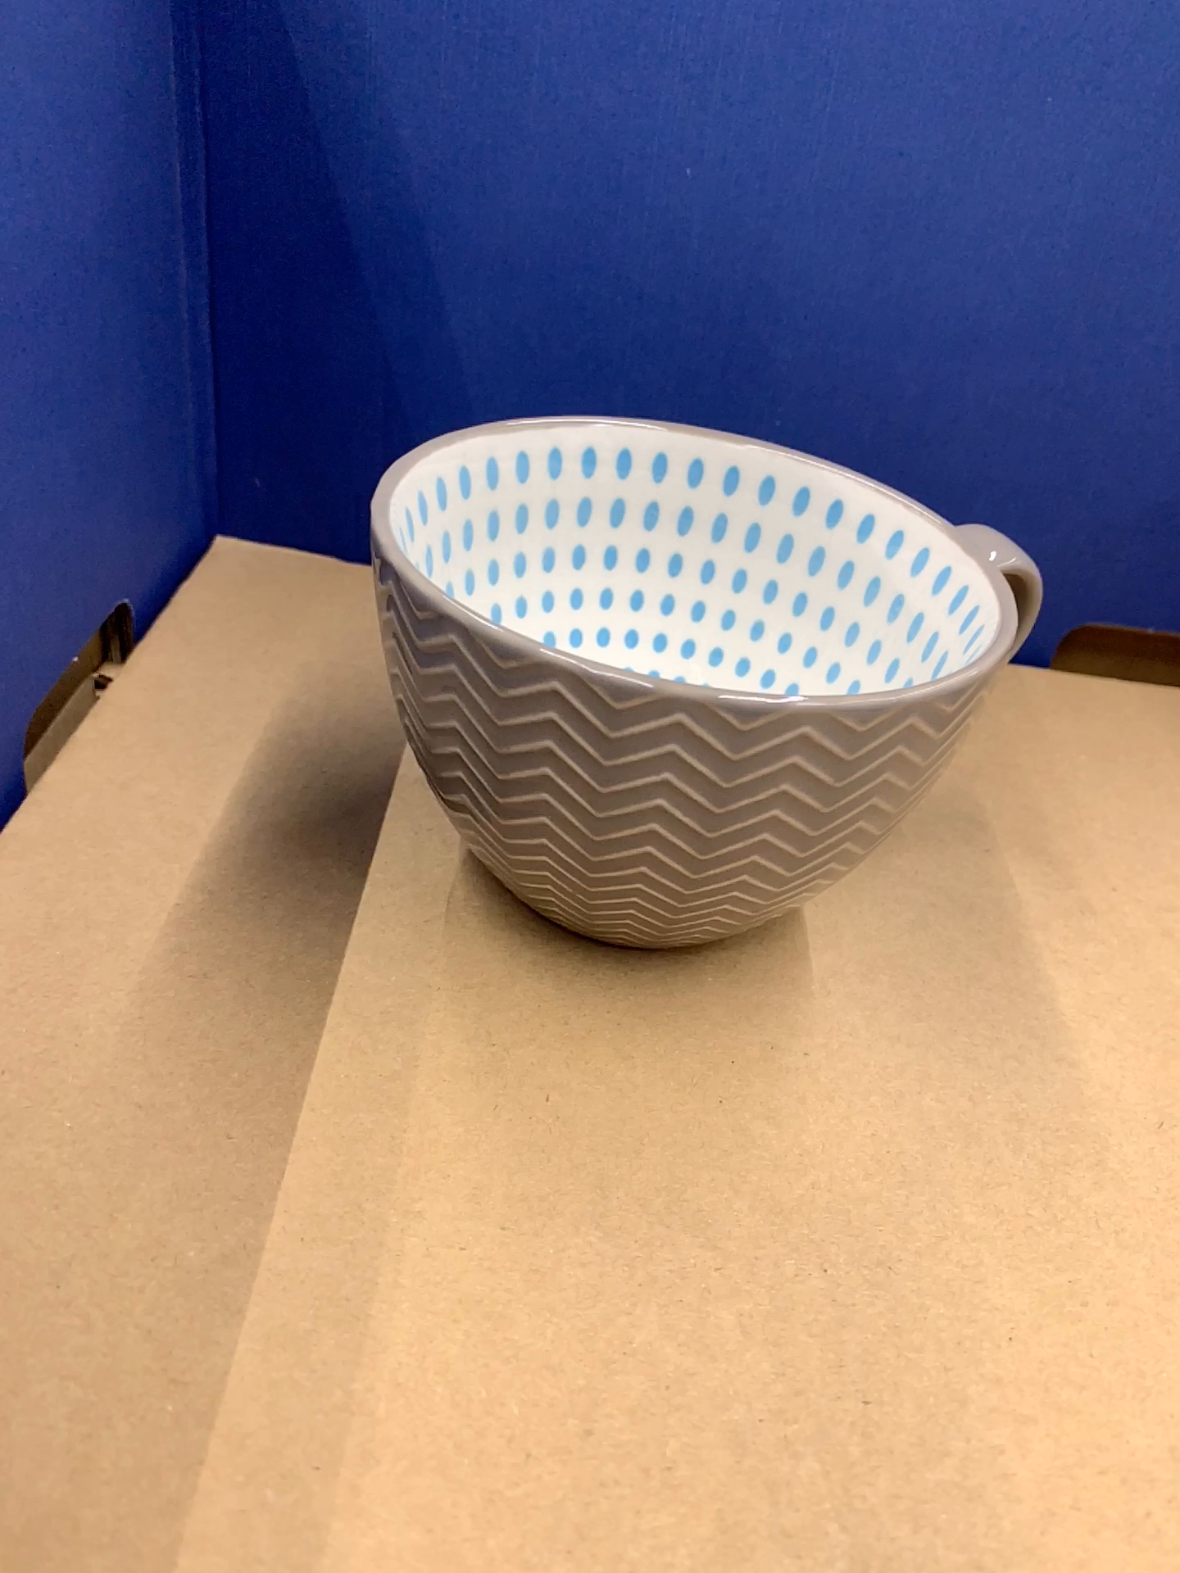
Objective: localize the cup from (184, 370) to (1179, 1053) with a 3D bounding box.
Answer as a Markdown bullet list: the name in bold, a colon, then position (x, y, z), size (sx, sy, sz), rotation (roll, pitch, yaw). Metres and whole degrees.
- **cup**: position (0.017, -0.031, 0.239), size (0.150, 0.058, 0.109), rotation (-18, 41, -34)
